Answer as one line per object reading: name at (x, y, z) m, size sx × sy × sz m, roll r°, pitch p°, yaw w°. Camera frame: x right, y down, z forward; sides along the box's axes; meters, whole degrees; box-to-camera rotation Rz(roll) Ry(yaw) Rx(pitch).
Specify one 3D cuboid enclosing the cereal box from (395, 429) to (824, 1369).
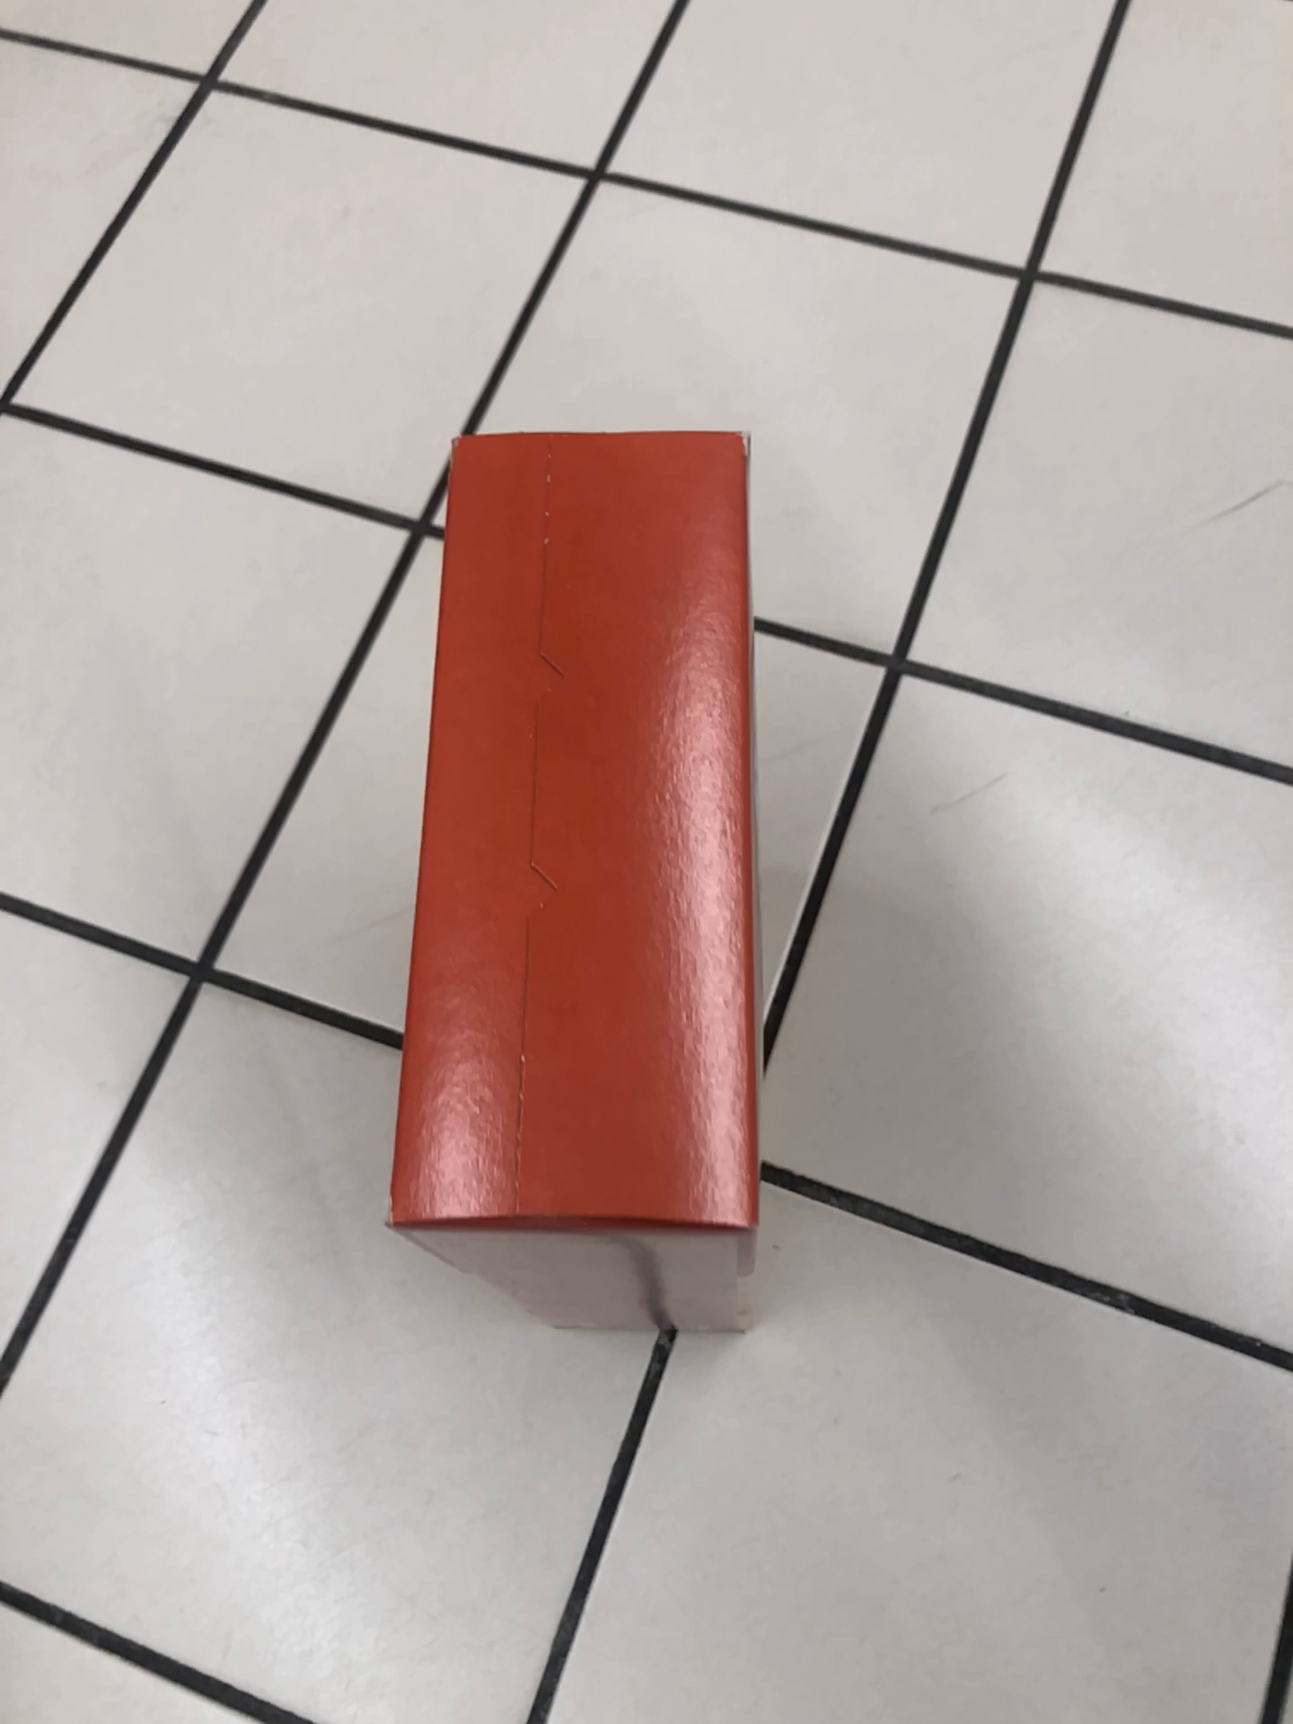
cereal box at (0.000, 0.036, 0.376) m, size 0.070 × 0.239 × 0.170 m, roll -2°, pitch 67°, yaw 3°
